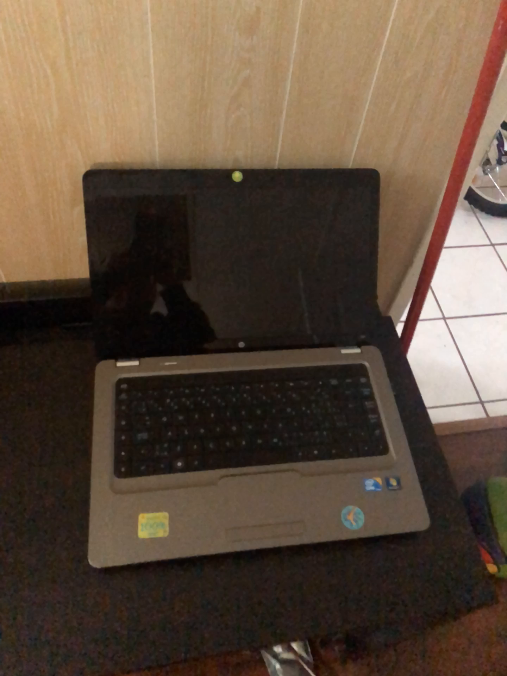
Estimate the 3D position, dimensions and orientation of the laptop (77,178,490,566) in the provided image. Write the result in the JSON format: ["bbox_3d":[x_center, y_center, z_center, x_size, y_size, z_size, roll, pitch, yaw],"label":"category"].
[{"bbox_3d":[0.003,0.015,0.646,0.356,0.166,0.403,-3,55,-8],"label":"laptop"}]
